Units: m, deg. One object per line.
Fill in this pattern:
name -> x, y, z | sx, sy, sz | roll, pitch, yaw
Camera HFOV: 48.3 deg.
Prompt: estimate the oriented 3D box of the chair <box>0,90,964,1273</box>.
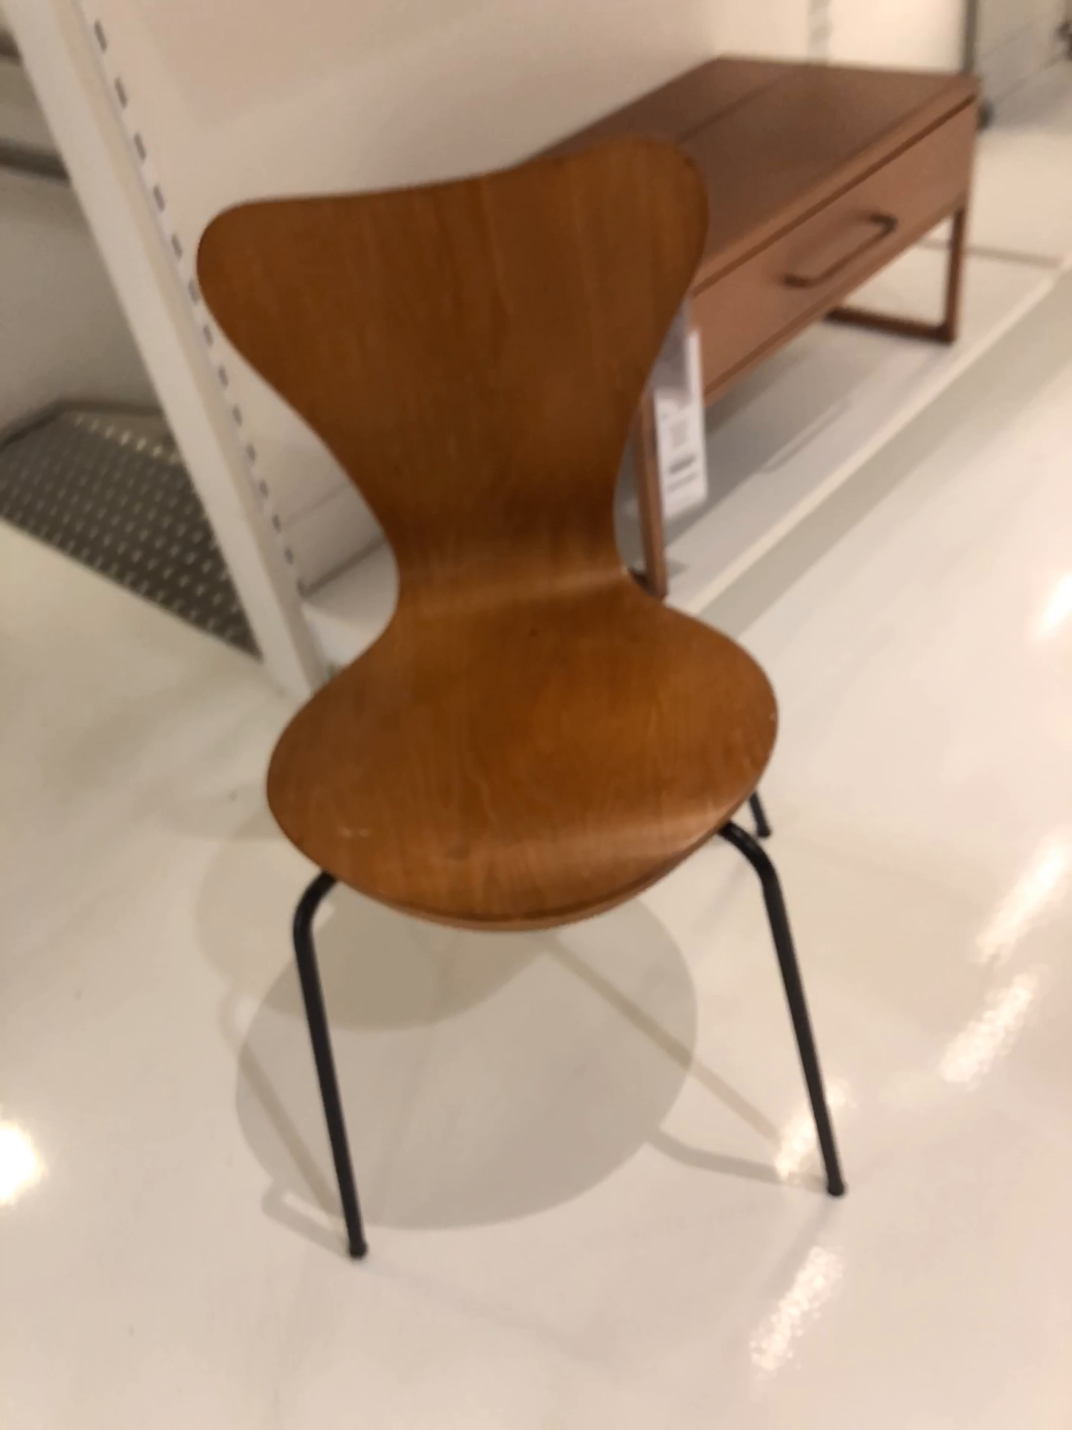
chair -> -0.016, 0.003, 1.060 | 0.540, 0.794, 0.574 | -9, 42, 4
